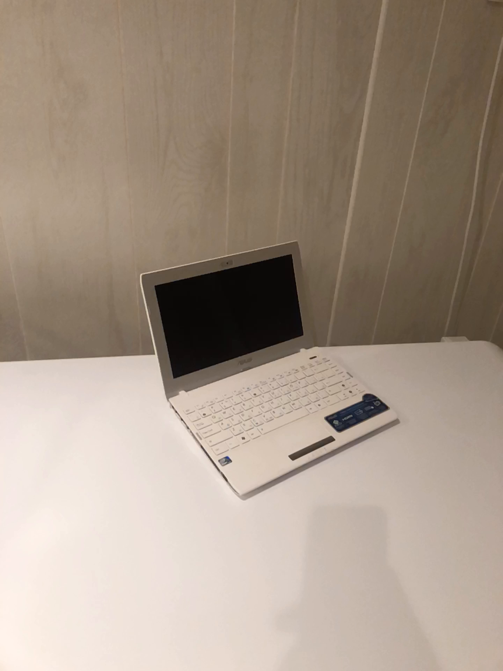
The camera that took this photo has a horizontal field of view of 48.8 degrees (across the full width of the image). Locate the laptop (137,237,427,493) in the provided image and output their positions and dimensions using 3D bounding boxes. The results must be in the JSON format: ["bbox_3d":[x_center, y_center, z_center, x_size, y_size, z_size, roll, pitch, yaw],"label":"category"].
[{"bbox_3d":[0.031,0.015,0.821,0.289,0.168,0.292,-18,41,-30],"label":"laptop"}]
